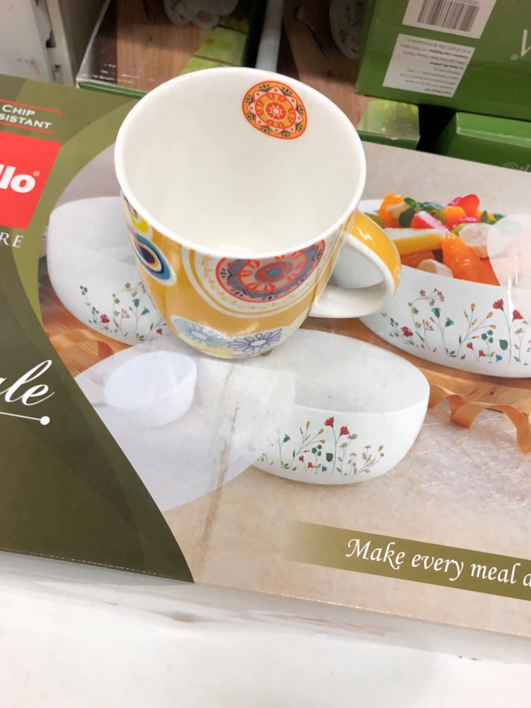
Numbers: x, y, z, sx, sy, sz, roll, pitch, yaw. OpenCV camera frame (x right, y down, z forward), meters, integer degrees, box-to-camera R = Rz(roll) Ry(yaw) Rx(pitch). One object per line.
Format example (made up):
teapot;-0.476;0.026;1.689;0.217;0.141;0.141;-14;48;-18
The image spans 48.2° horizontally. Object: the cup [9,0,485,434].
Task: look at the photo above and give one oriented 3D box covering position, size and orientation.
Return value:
cup;-0.003;-0.046;0.217;0.120;0.090;0.090;19;62;2
